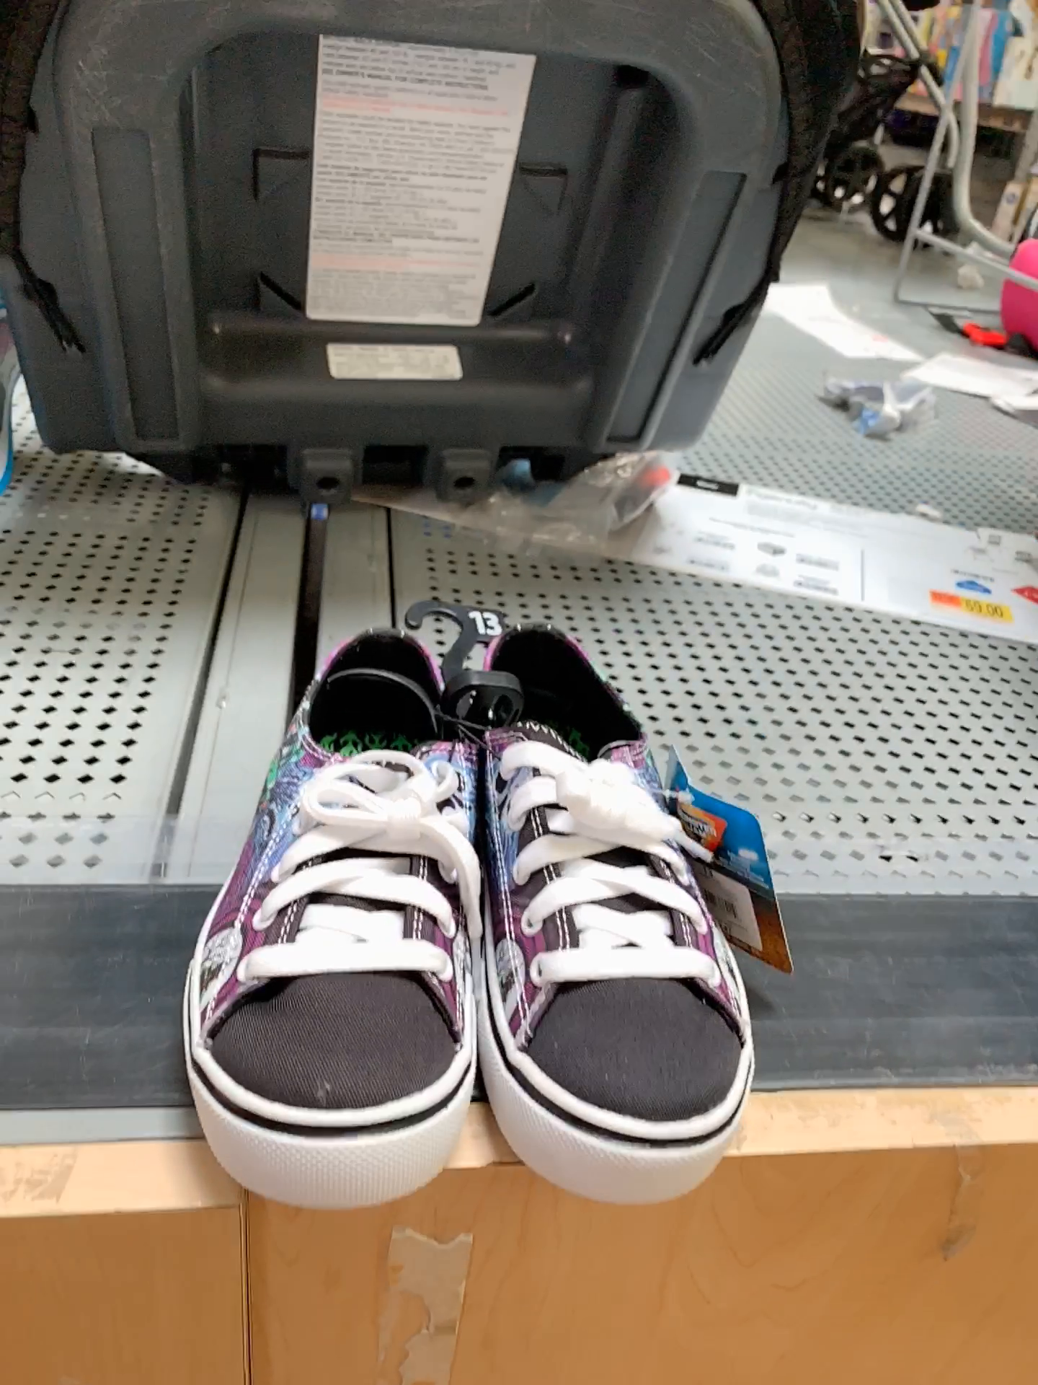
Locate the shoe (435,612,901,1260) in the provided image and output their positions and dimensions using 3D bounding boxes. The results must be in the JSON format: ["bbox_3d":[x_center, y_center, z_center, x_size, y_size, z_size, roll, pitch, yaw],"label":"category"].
[{"bbox_3d":[0.028,0.058,0.354,0.089,0.073,0.213,1,32,-10],"label":"shoe"}]

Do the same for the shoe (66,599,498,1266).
[{"bbox_3d":[-0.057,0.055,0.337,0.091,0.073,0.208,5,32,-5],"label":"shoe"}]
